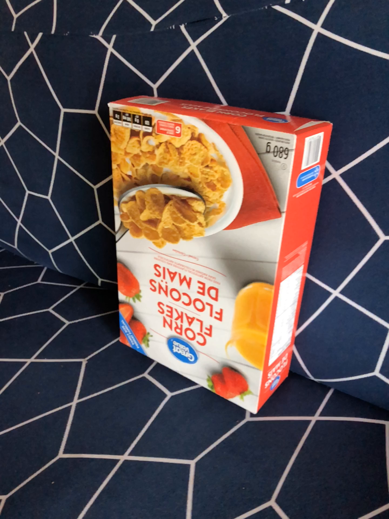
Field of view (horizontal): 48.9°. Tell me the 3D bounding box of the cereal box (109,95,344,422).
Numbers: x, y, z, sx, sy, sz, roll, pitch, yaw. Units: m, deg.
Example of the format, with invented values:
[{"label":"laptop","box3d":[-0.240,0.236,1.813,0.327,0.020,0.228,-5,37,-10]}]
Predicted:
[{"label":"cereal box","box3d":[0.019,-0.011,0.503,0.221,0.318,0.100,20,30,31]}]
